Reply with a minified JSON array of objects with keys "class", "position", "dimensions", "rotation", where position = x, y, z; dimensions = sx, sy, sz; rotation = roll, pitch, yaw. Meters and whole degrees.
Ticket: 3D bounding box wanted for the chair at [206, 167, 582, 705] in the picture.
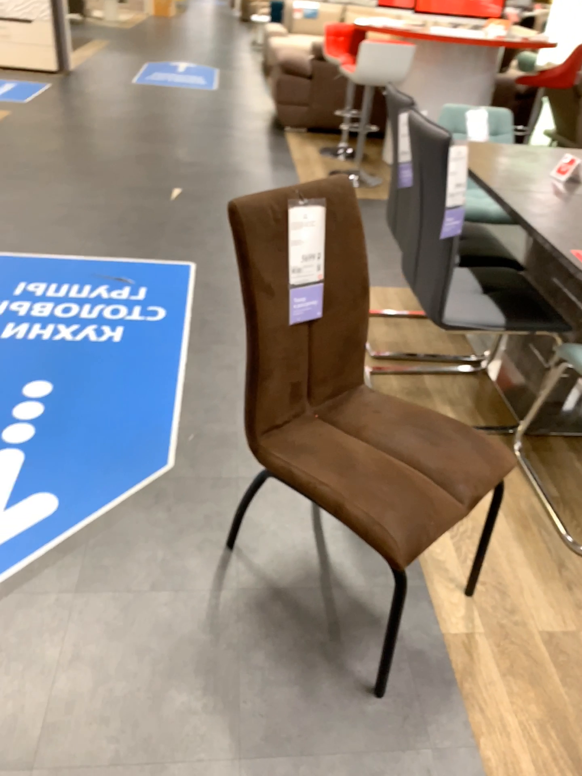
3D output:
[{"class":"chair","position":[0.174,0.098,1.366],"dimensions":[0.591,0.964,0.442],"rotation":[32,42,33]}]
